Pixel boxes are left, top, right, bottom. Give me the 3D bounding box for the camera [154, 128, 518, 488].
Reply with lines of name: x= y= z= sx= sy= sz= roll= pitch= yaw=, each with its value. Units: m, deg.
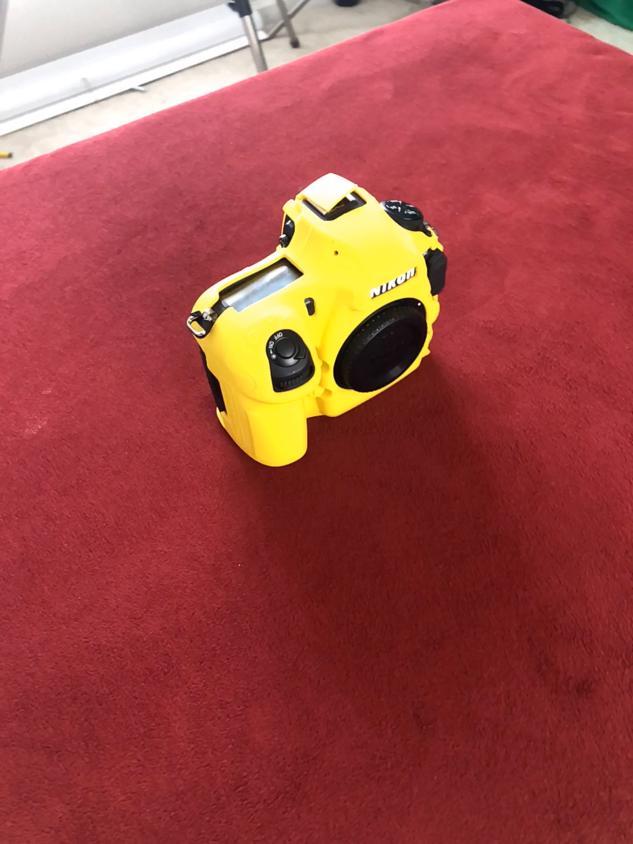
camera: x=0.013 y=-0.063 z=0.389 sx=0.160 sy=0.116 sz=0.082 roll=-31 pitch=58 yaw=-19
